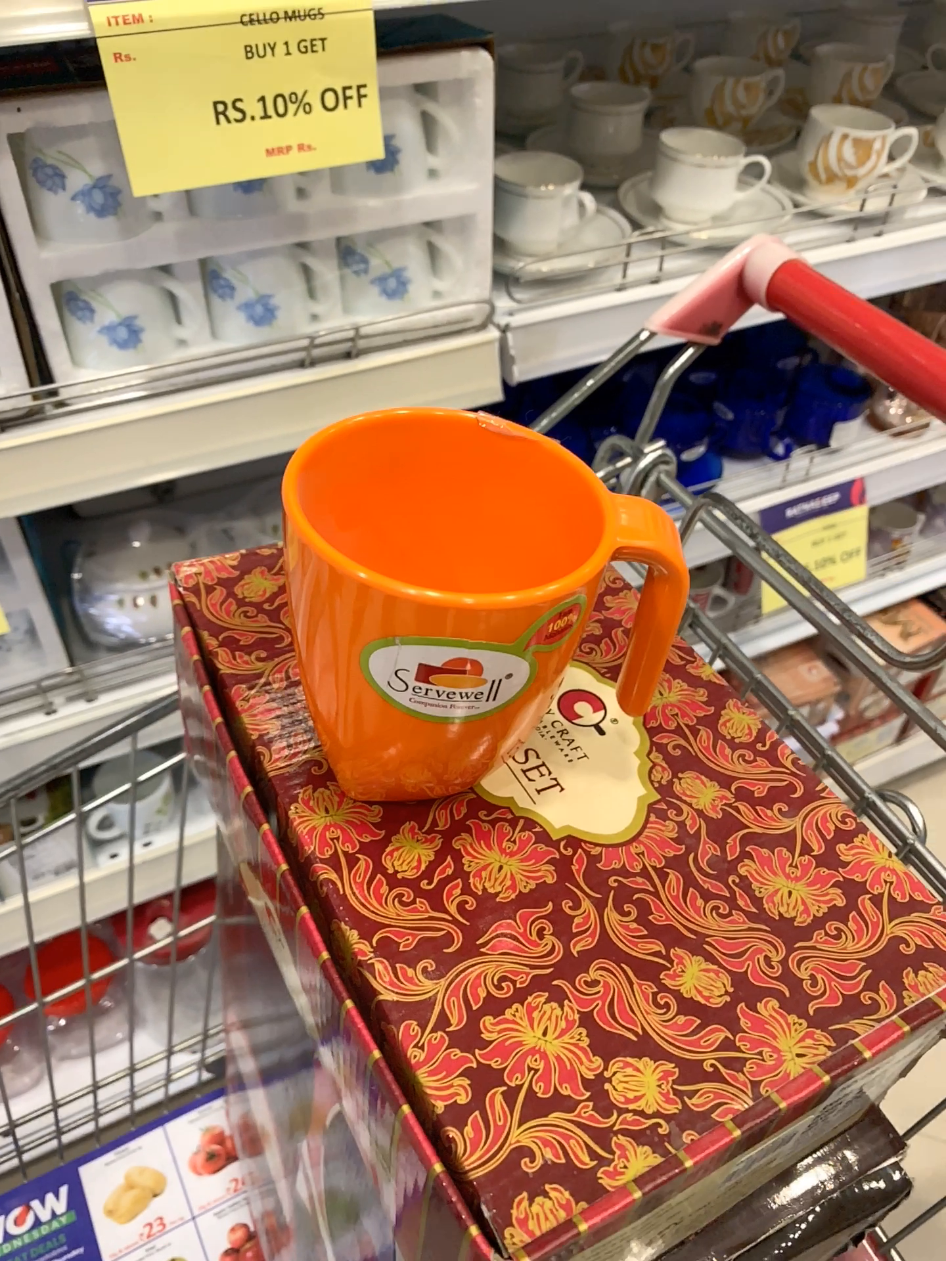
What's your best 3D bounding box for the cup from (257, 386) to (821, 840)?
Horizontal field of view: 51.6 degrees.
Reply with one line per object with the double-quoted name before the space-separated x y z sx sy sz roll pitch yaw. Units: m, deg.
"cup" 0.007 -0.004 0.239 0.110 0.070 0.080 3 44 -8
